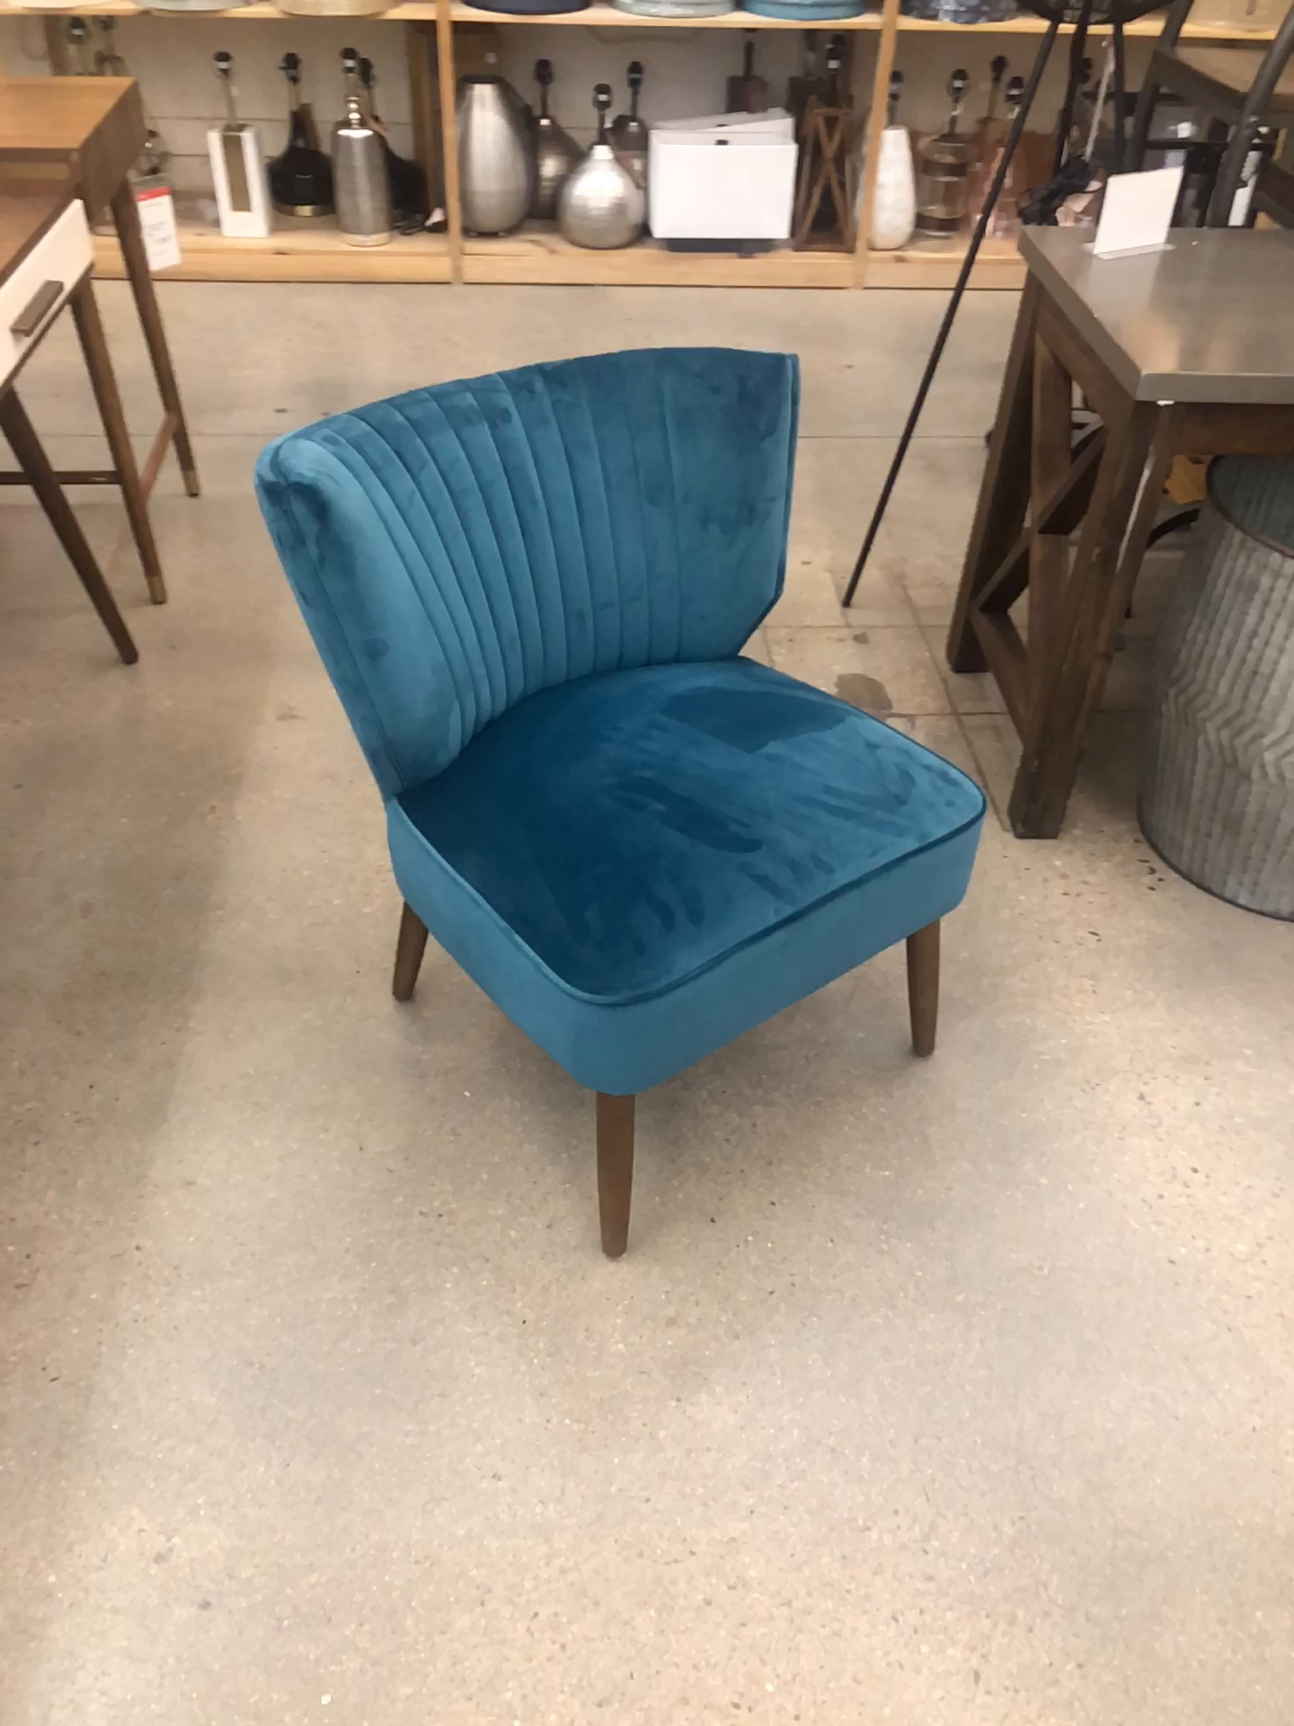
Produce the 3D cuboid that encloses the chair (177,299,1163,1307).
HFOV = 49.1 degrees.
[{"bbox_3d":[0.004,-0.119,1.548,0.662,0.677,0.662,-27,47,-31],"label":"chair"}]
